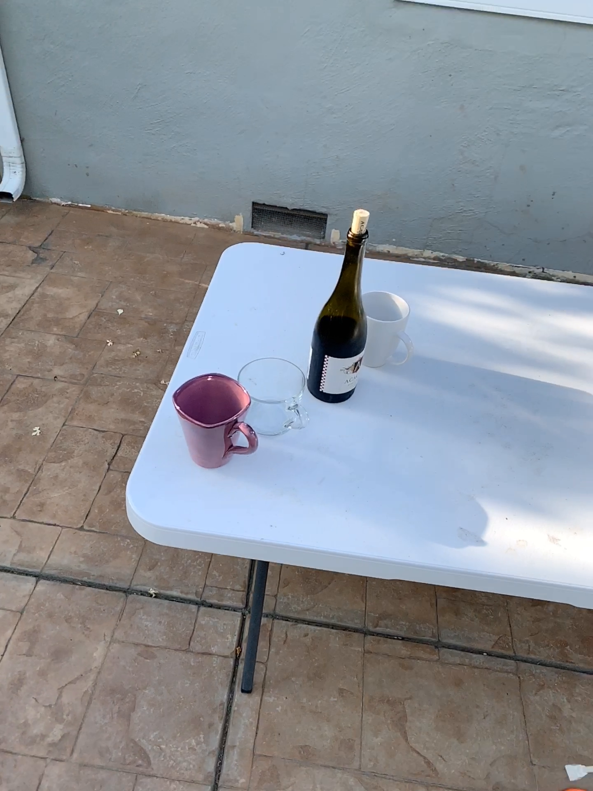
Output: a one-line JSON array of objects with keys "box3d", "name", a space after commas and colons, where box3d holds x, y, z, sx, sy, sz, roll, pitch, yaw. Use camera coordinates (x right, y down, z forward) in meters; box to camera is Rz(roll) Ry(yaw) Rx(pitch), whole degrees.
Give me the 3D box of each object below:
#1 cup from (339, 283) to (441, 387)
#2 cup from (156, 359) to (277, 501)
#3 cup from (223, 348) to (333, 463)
[{"box3d": [0.151, -0.102, 1.005, 0.090, 0.099, 0.121, -27, 52, -32], "name": "cup"}, {"box3d": [-0.111, 0.045, 0.832, 0.100, 0.109, 0.131, -27, 52, -32], "name": "cup"}, {"box3d": [-0.031, 0.012, 0.904, 0.100, 0.080, 0.131, -27, 52, -32], "name": "cup"}]
